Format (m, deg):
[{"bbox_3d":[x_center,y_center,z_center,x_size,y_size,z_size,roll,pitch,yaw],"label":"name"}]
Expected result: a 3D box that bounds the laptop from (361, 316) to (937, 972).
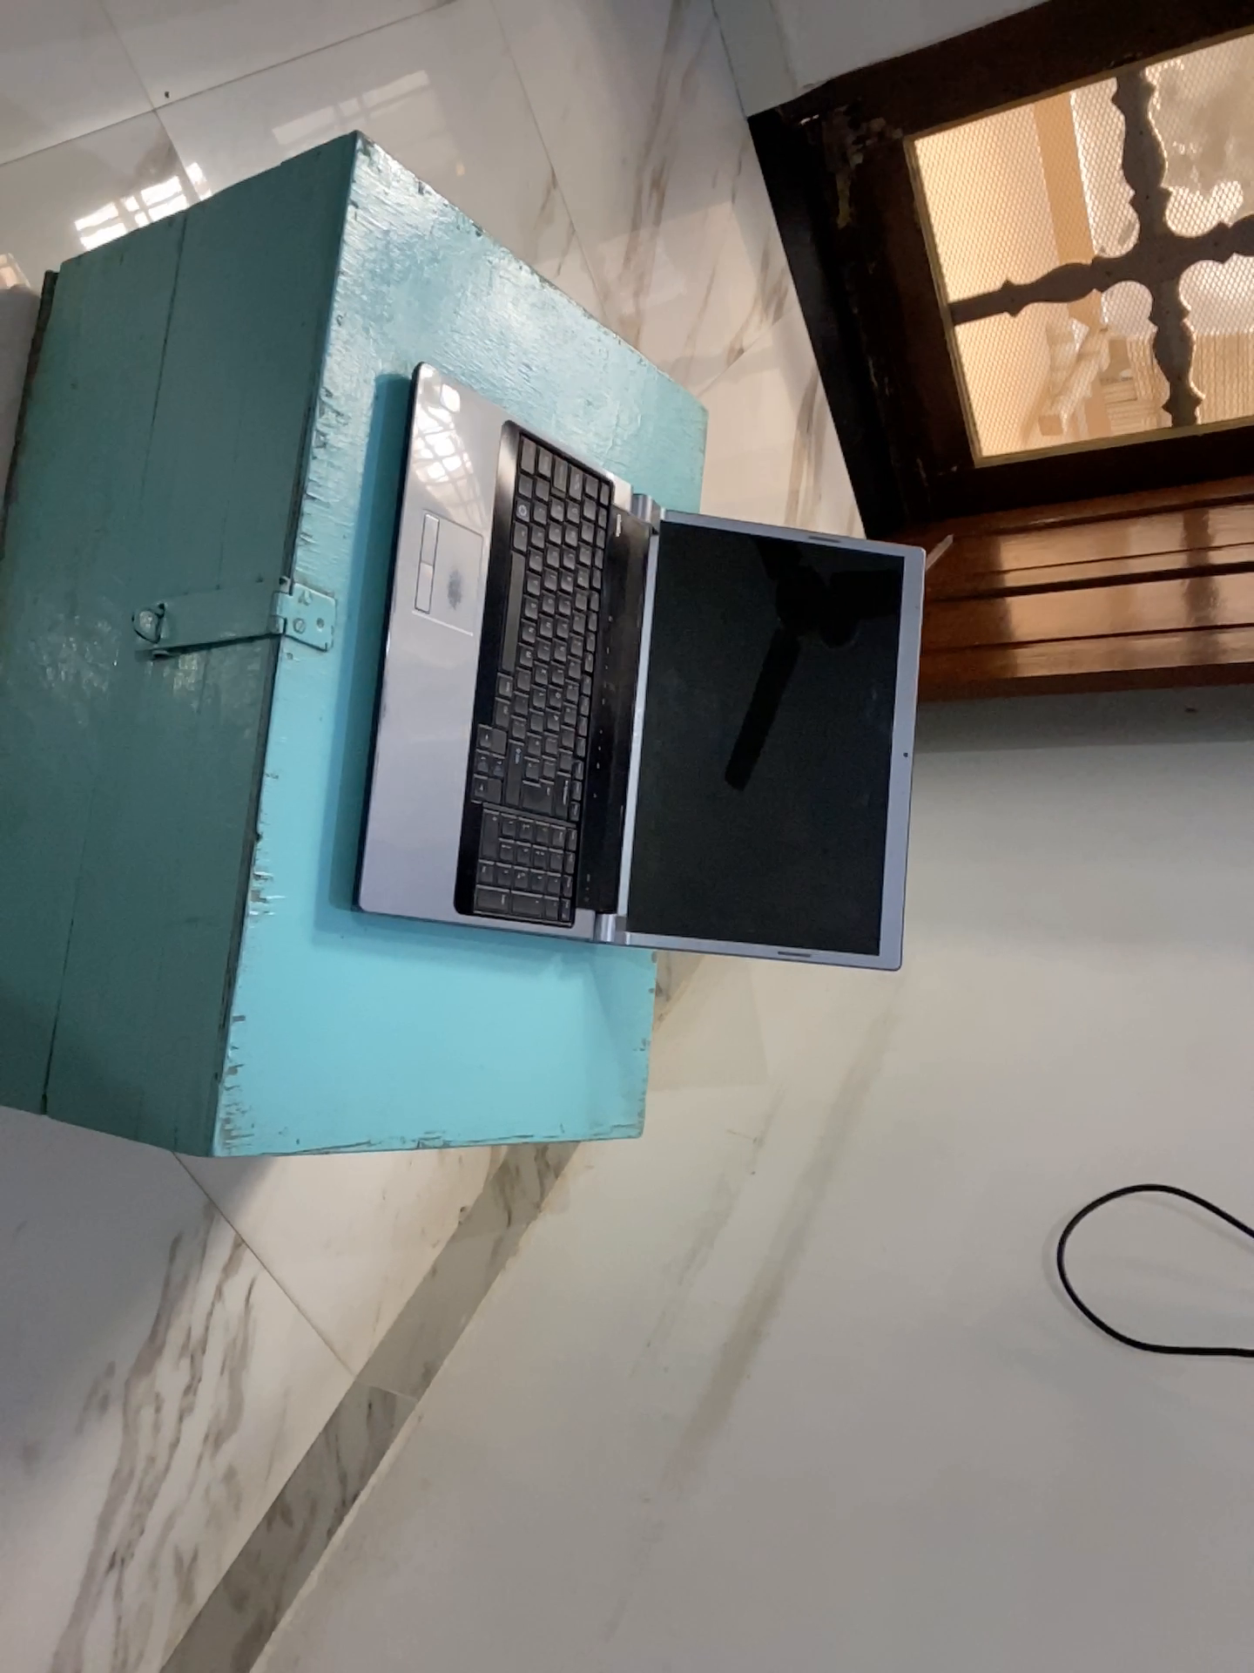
[{"bbox_3d":[0.054,-0.105,1.022,0.481,0.178,0.389,13,79,-52],"label":"laptop"}]
